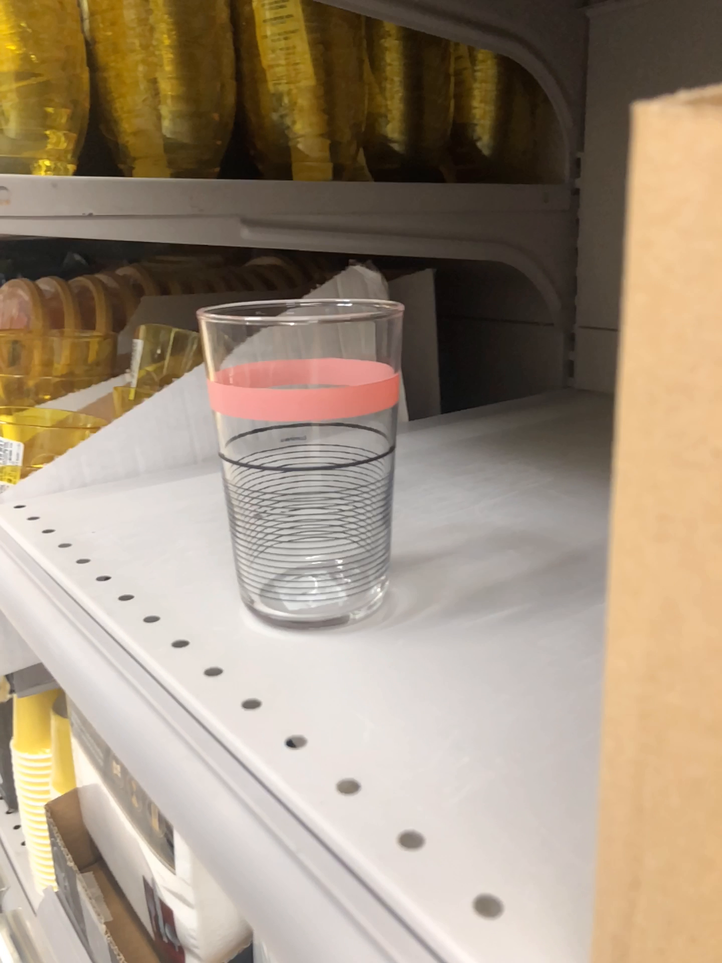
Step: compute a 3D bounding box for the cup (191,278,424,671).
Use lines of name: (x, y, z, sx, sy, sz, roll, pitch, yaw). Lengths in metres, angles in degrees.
cup: (-0.021, -0.008, 0.296, 0.063, 0.123, 0.074, -8, 18, -12)
